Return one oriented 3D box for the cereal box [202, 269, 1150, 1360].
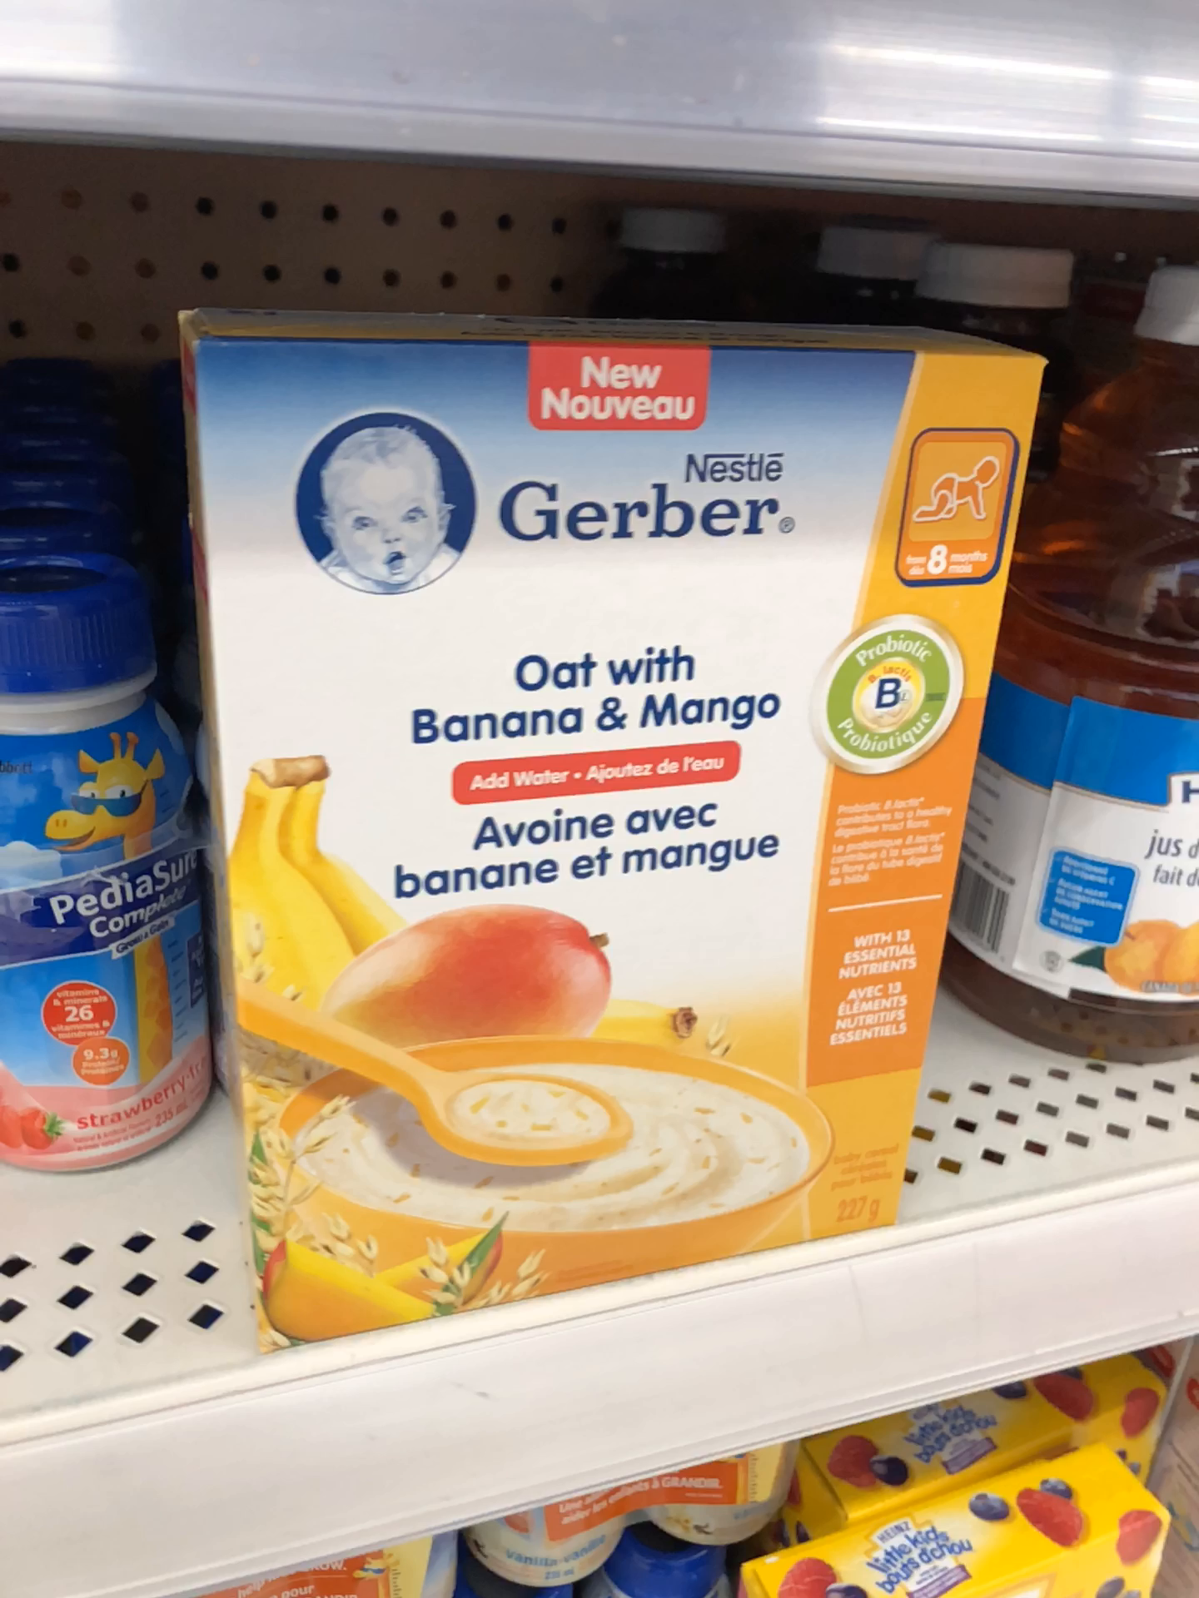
[{"bbox_3d":[0.008,0.006,0.254,0.150,0.189,0.040,-4,25,-19],"label":"cereal box"}]
